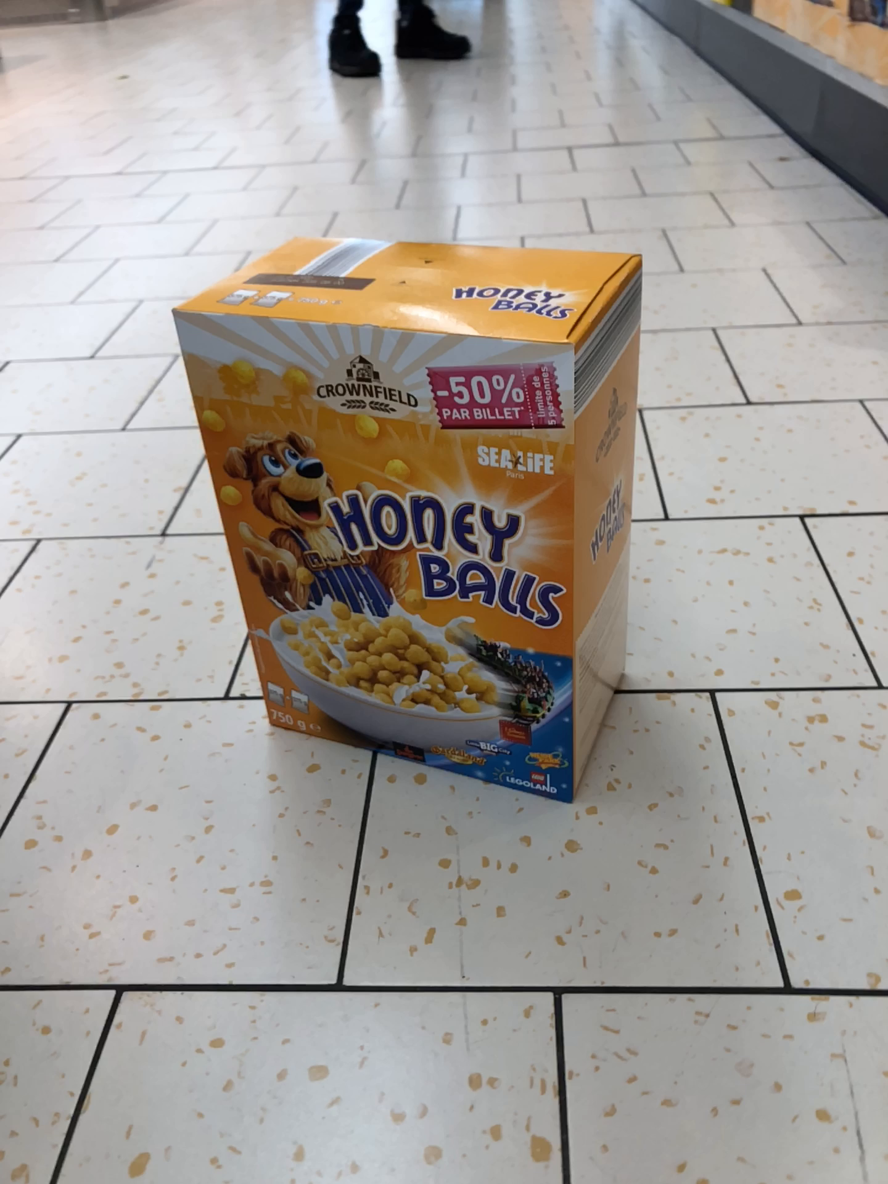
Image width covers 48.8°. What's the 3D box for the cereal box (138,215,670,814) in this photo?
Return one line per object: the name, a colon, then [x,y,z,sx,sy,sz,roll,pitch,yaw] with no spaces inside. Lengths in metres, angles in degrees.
cereal box: [-0.007,-0.046,0.524,0.210,0.258,0.131,11,37,22]
